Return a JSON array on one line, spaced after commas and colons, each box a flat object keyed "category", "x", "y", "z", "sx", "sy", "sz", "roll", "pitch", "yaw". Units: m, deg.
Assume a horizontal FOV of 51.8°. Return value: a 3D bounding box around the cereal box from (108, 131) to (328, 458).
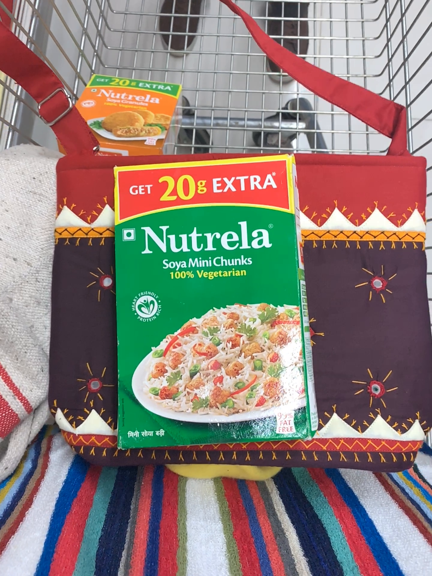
[{"category": "cereal box", "x": -0.001, "y": 0.003, "z": 0.292, "sx": 0.120, "sy": 0.050, "sz": 0.190, "roll": -4, "pitch": 82, "yaw": 1}]
